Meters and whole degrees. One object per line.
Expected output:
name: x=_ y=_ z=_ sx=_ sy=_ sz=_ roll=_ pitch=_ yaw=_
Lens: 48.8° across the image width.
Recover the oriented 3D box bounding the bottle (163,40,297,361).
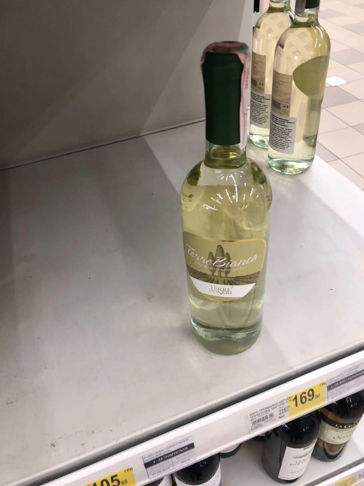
bottle: x=0.037 y=-0.009 z=0.328 sx=0.070 sy=0.269 sz=0.070 roll=-3 pitch=43 yaw=2
